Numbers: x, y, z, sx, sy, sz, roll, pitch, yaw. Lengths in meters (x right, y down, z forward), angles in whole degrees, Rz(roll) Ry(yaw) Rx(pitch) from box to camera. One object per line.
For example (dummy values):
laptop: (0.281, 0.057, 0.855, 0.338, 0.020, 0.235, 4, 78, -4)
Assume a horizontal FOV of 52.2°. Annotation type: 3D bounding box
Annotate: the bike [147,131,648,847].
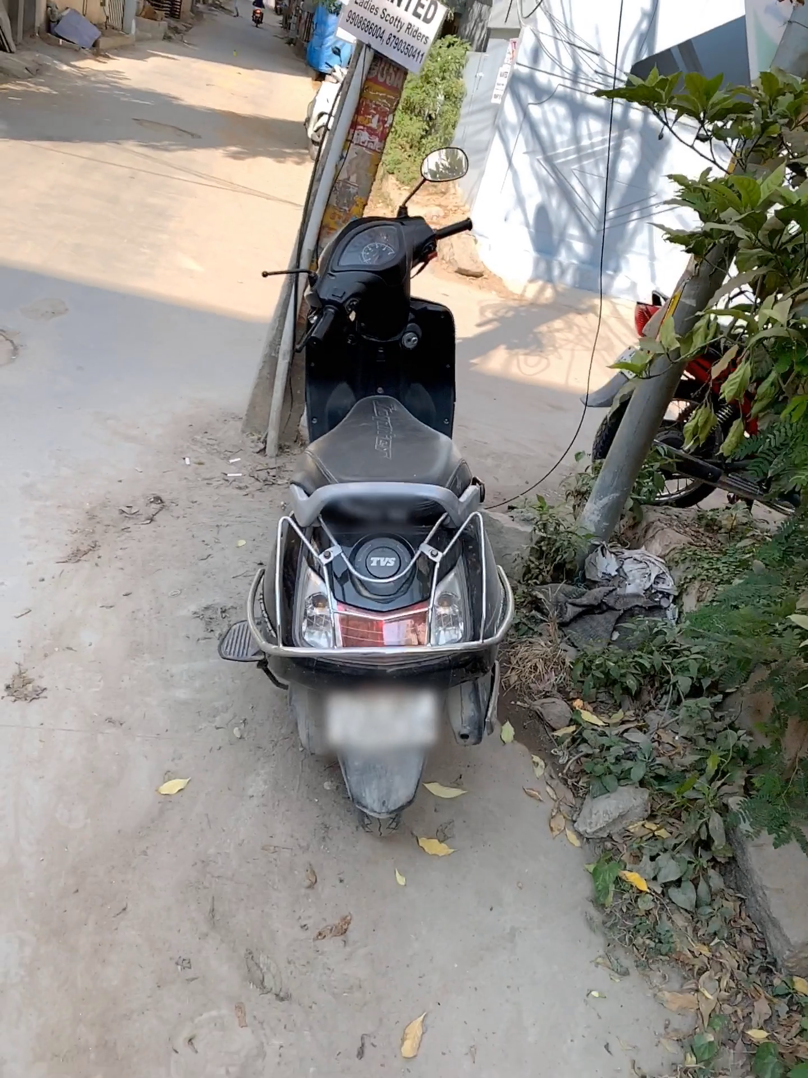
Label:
bike: (-0.125, -0.335, 2.128, 0.618, 0.943, 1.826, 10, 31, -12)
